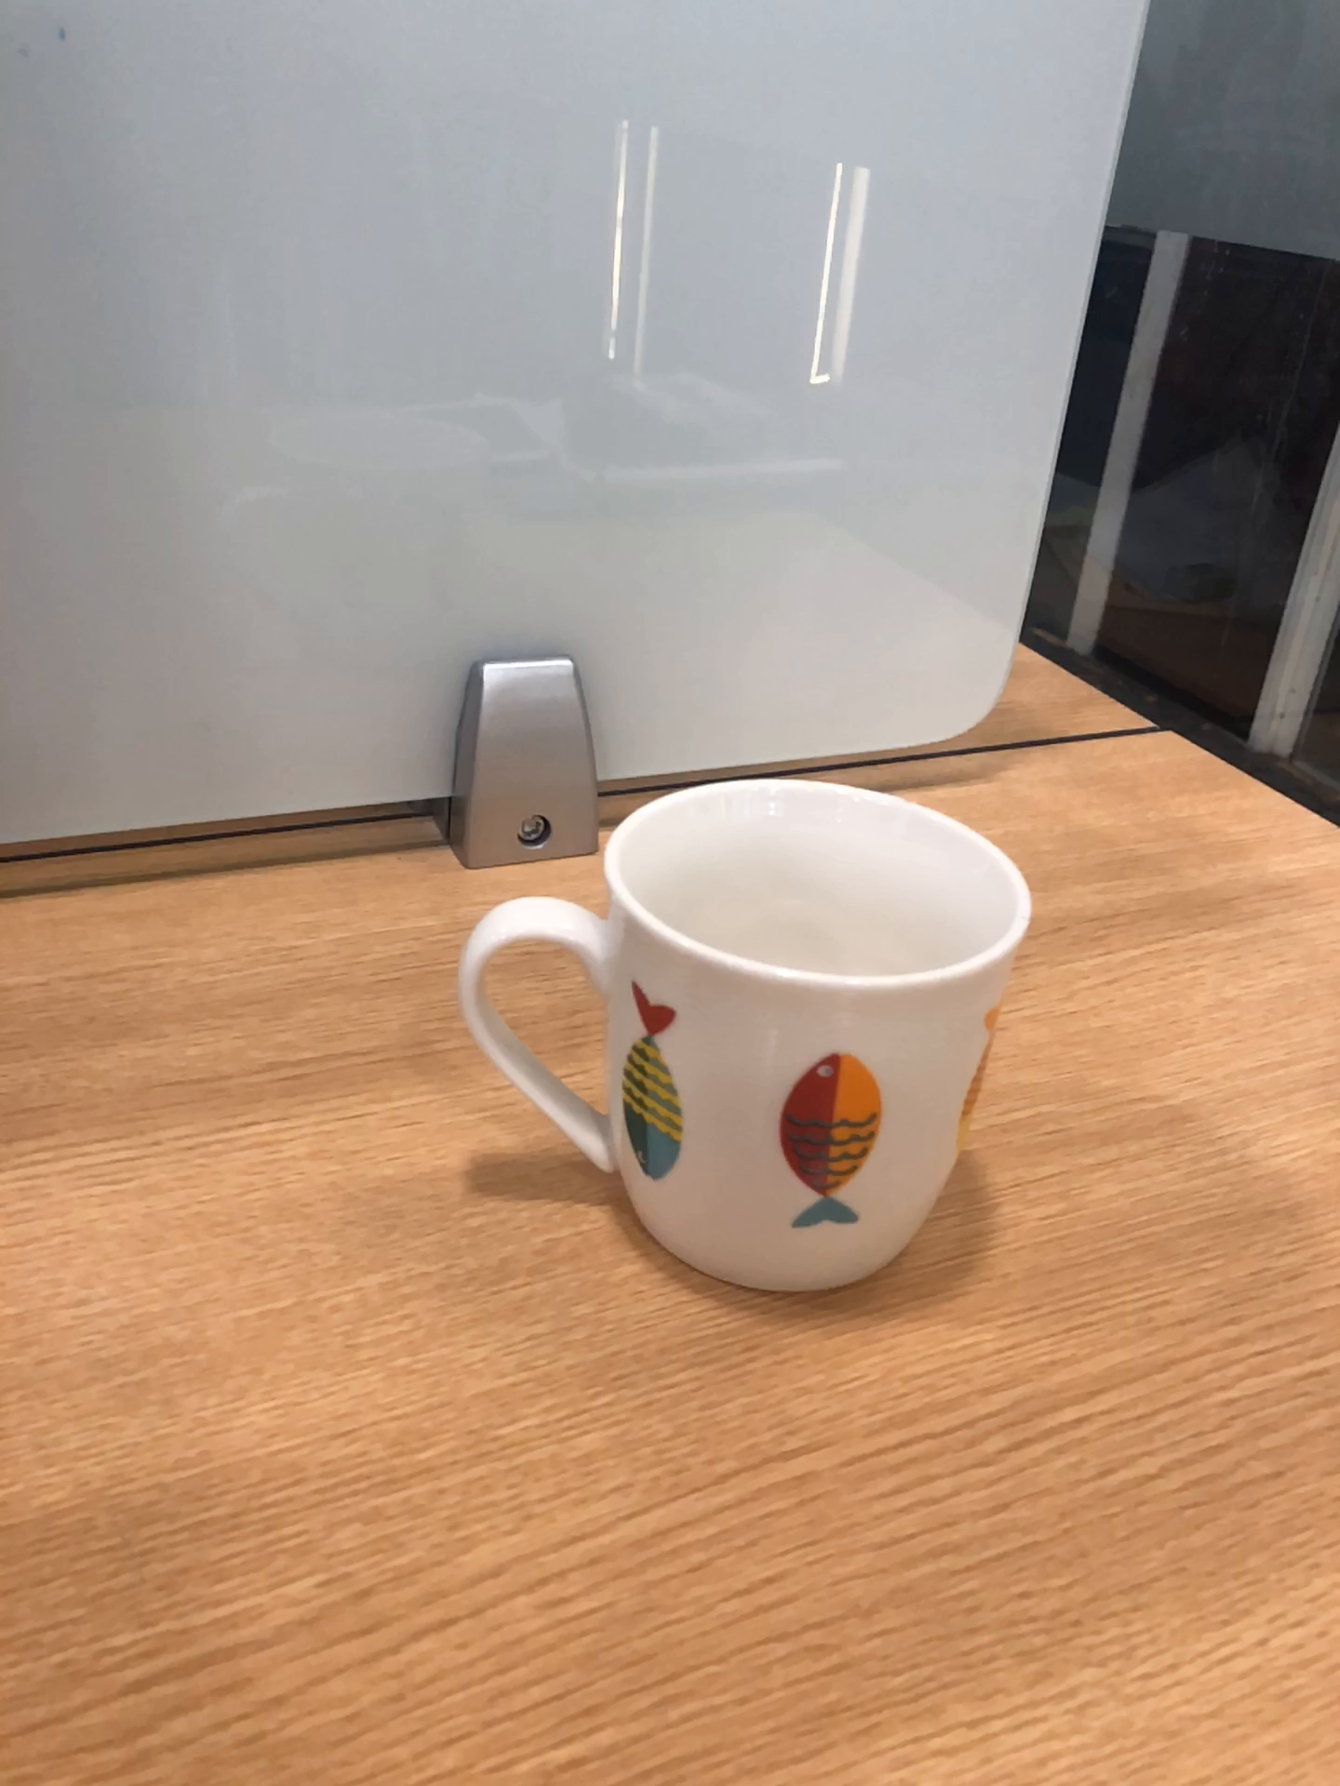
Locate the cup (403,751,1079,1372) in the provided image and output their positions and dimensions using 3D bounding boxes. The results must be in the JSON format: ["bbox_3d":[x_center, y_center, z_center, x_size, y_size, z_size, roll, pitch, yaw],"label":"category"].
[{"bbox_3d":[0.006,0.032,0.294,0.110,0.090,0.080,2,29,-7],"label":"cup"}]
